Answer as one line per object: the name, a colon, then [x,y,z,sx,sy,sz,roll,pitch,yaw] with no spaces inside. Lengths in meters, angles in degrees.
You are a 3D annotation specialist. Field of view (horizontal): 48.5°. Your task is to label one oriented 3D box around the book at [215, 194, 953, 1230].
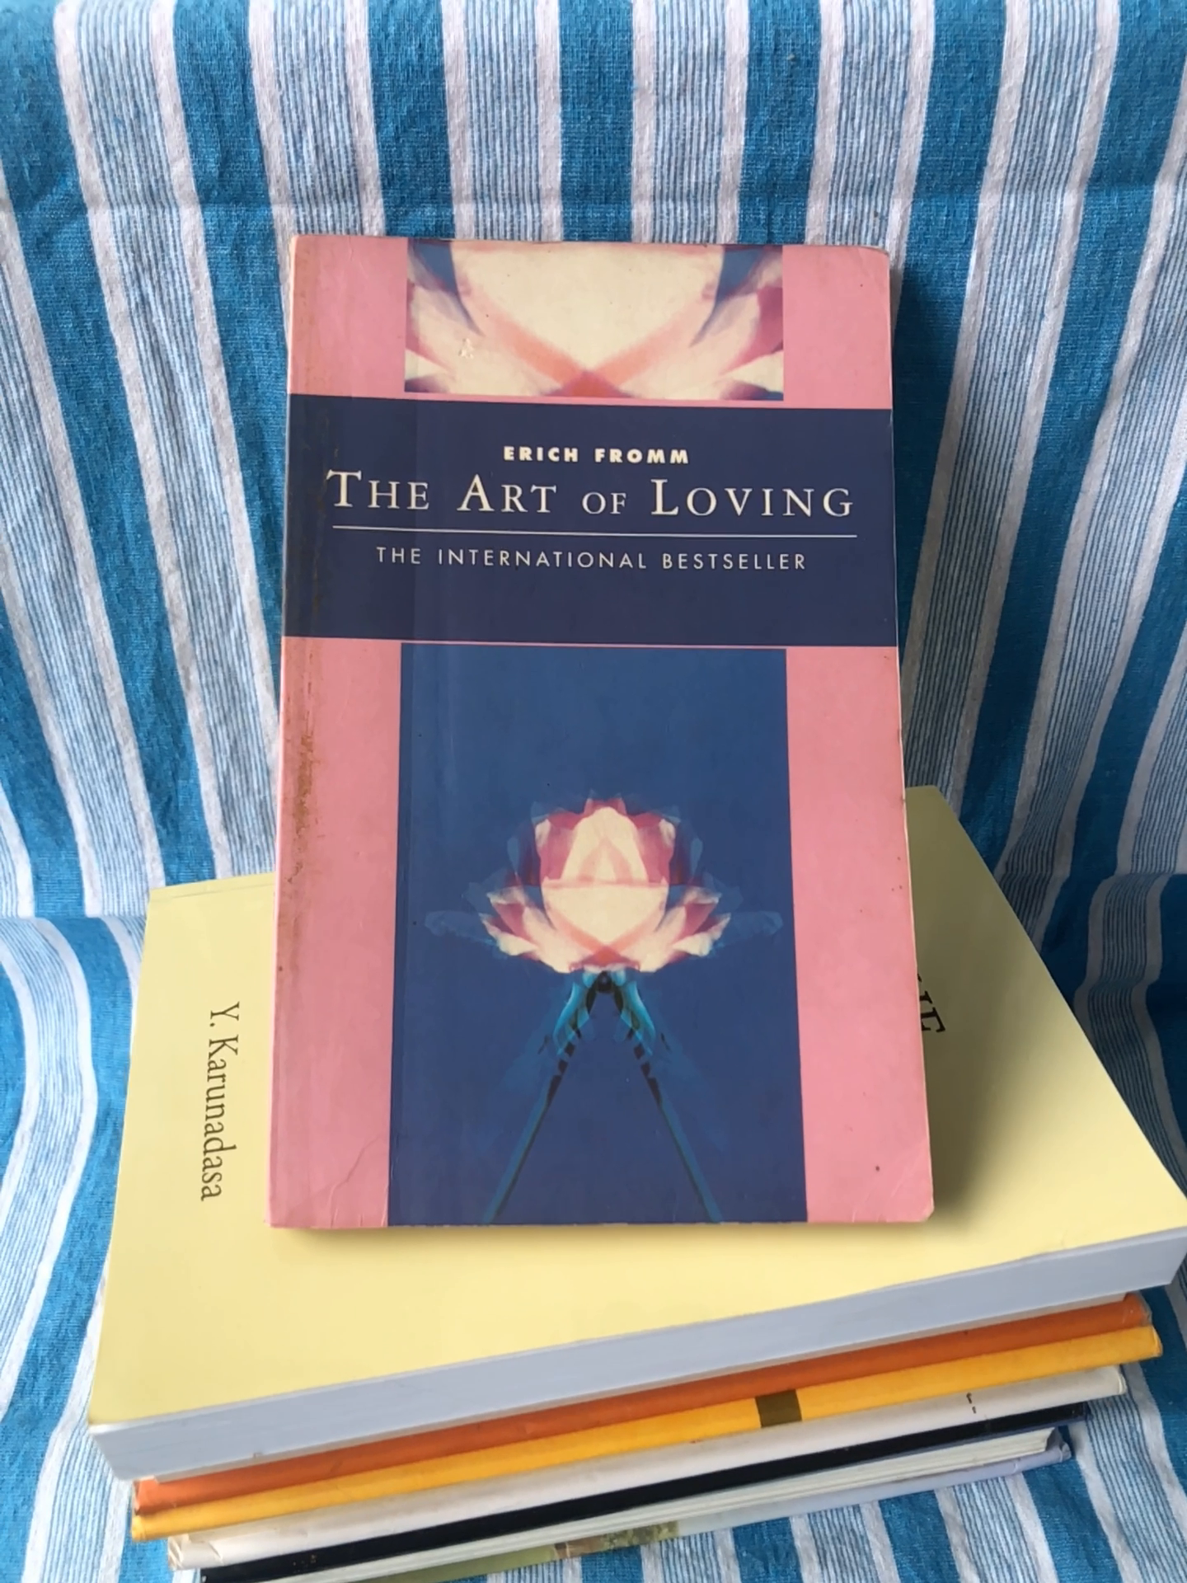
book: [-0.003,-0.019,0.250,0.129,0.015,0.193,-1,83,0]
